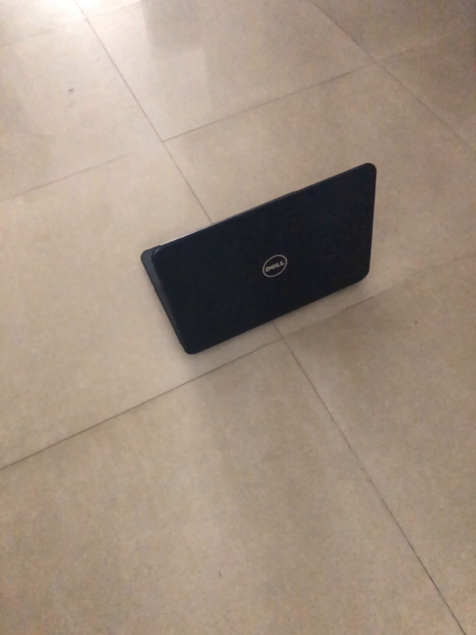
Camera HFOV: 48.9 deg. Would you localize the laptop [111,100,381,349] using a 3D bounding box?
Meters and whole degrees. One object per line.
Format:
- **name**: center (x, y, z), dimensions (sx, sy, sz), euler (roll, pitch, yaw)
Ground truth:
- **laptop**: center (0.010, -0.163, 0.914), dimensions (0.351, 0.227, 0.248), euler (-24, 58, -10)
